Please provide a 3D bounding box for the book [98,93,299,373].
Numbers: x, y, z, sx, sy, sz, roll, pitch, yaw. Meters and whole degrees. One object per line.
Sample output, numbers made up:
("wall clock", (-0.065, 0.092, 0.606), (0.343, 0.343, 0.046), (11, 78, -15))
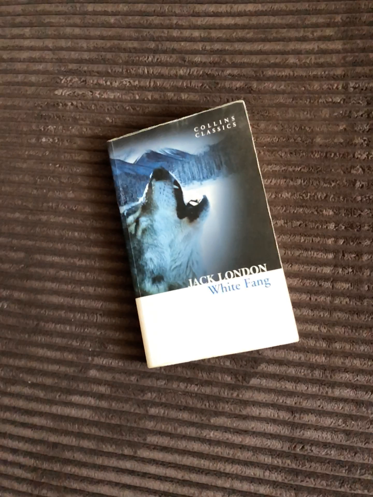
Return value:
("book", (0.007, -0.008, 0.307), (0.114, 0.030, 0.178), (-12, 86, 15))
